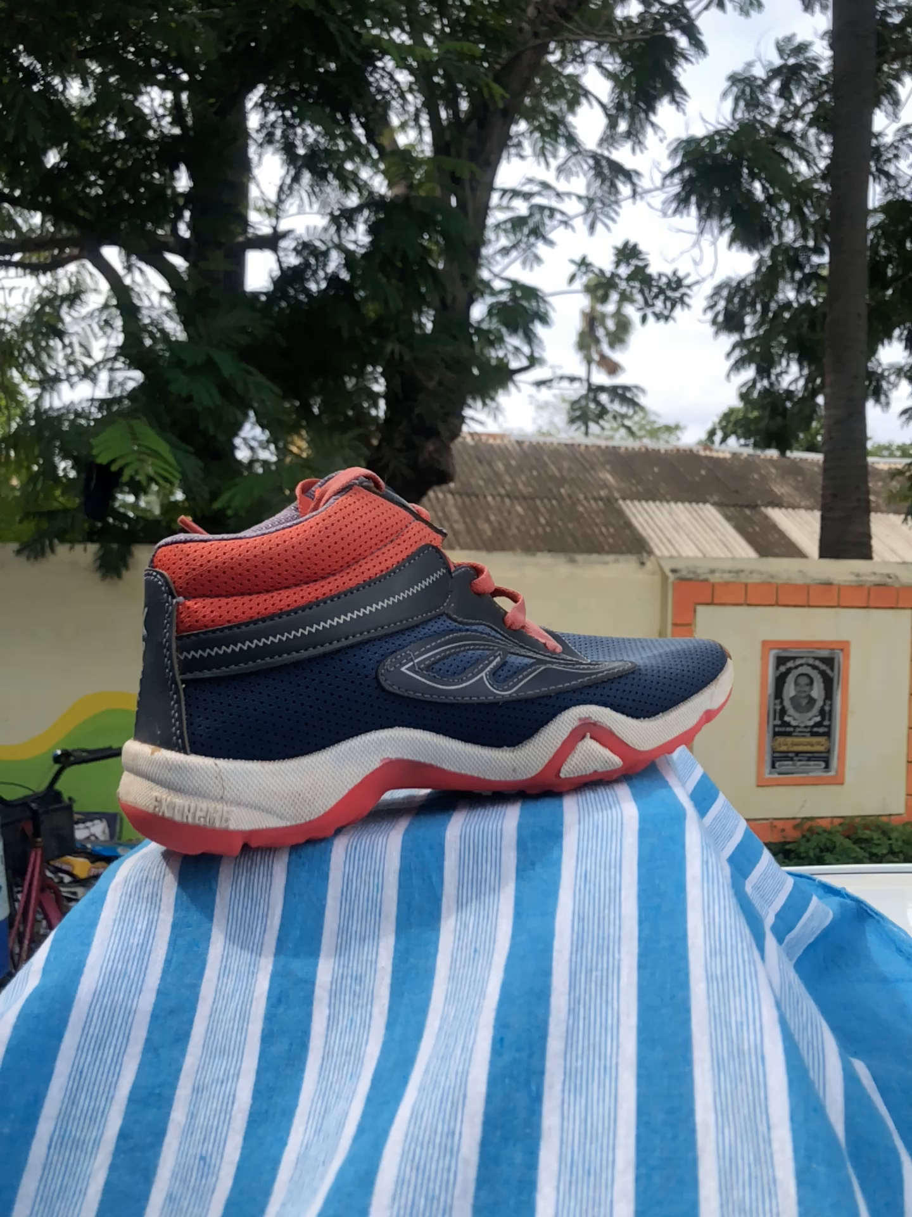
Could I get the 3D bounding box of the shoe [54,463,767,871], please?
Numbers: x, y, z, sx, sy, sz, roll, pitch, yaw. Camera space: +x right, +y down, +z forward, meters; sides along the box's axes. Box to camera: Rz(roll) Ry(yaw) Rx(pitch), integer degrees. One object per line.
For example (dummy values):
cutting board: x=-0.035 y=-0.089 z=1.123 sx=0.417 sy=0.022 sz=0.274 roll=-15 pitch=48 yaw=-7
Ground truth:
shoe: x=-0.010 y=0.014 z=0.407 sx=0.271 sy=0.120 sz=0.100 roll=0 pitch=2 yaw=-31
